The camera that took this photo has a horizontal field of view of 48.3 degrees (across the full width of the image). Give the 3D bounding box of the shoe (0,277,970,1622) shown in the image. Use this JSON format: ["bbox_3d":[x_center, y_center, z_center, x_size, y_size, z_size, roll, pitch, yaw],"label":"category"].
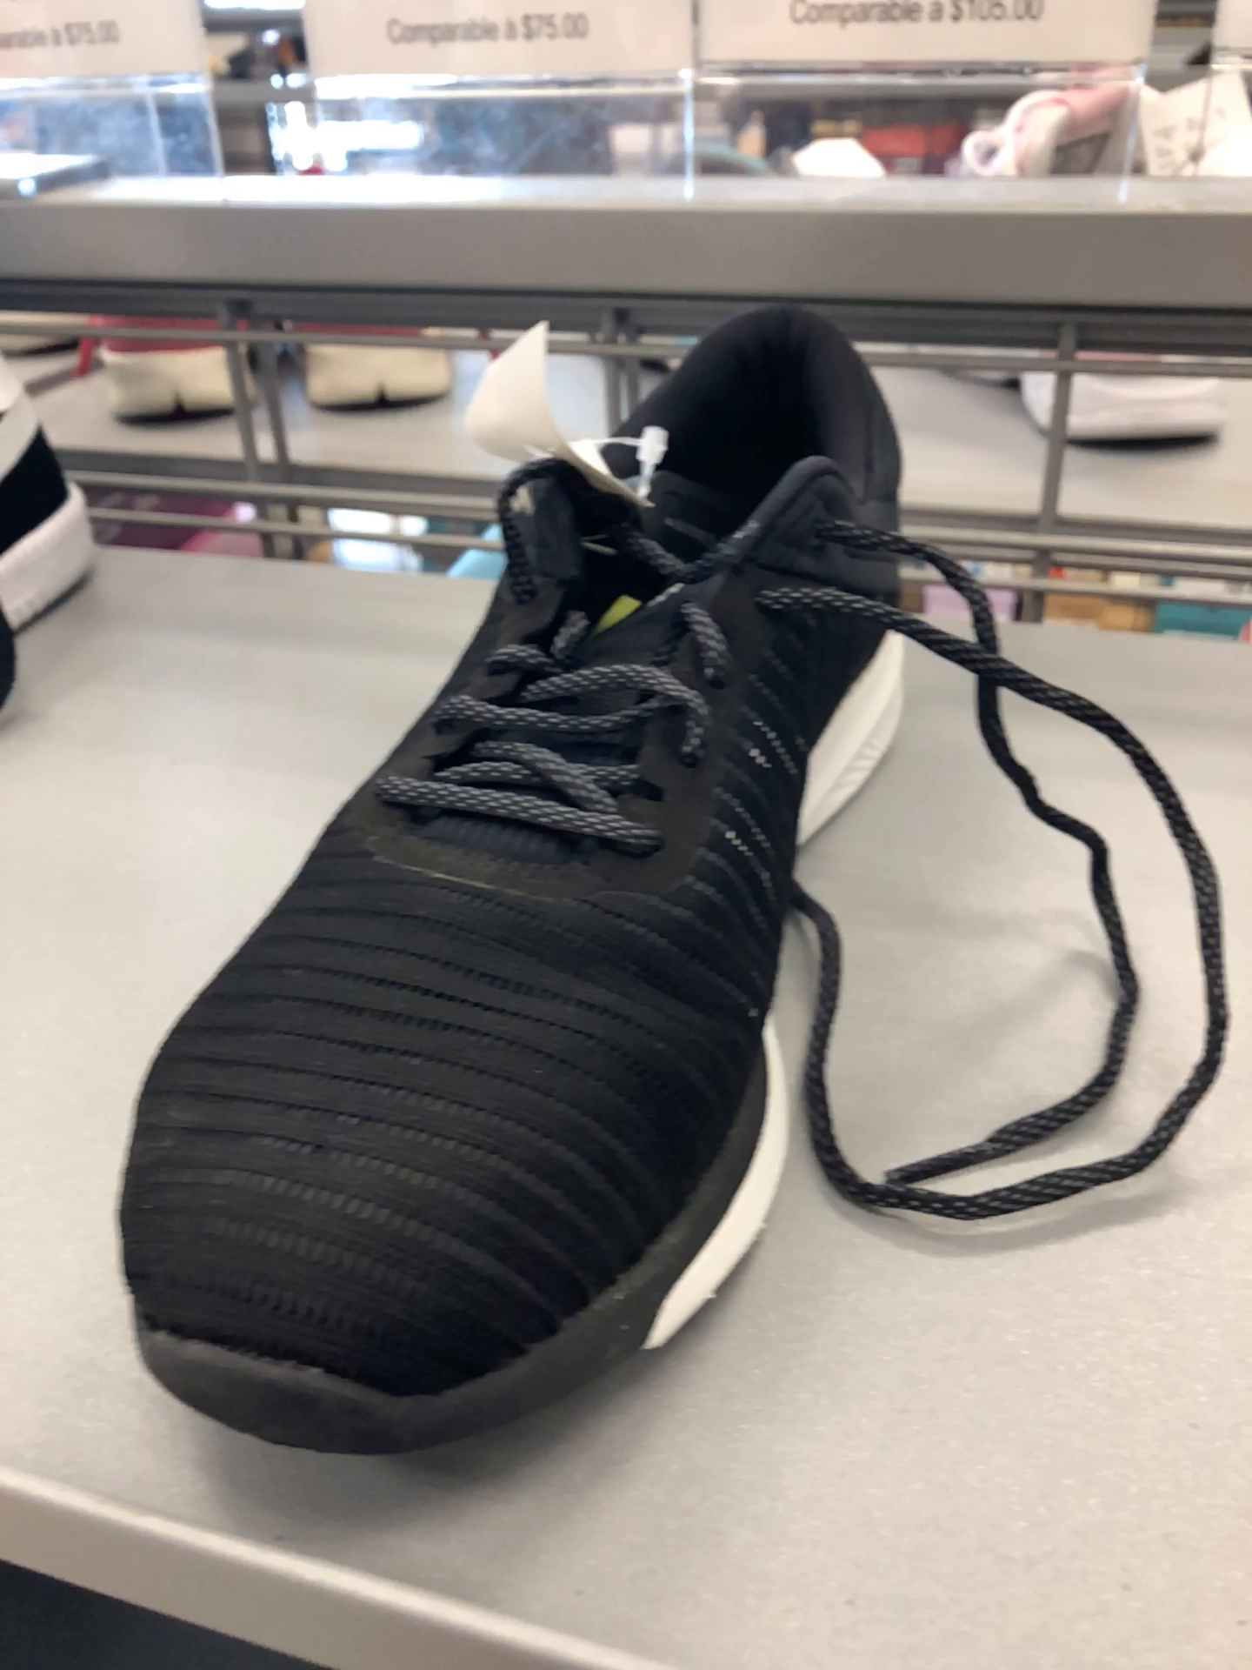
[{"bbox_3d":[-0.007,-0.026,0.302,0.120,0.119,0.302,7,33,16],"label":"shoe"}]
